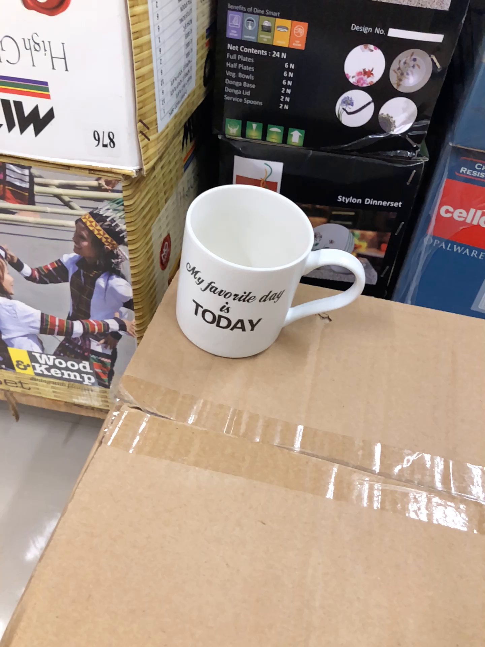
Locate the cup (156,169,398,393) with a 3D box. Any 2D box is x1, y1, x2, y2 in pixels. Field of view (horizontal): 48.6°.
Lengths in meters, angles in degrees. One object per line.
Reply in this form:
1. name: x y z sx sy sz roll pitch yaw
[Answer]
1. cup: 0.018 -0.025 0.358 0.130 0.099 0.081 10 49 -4
